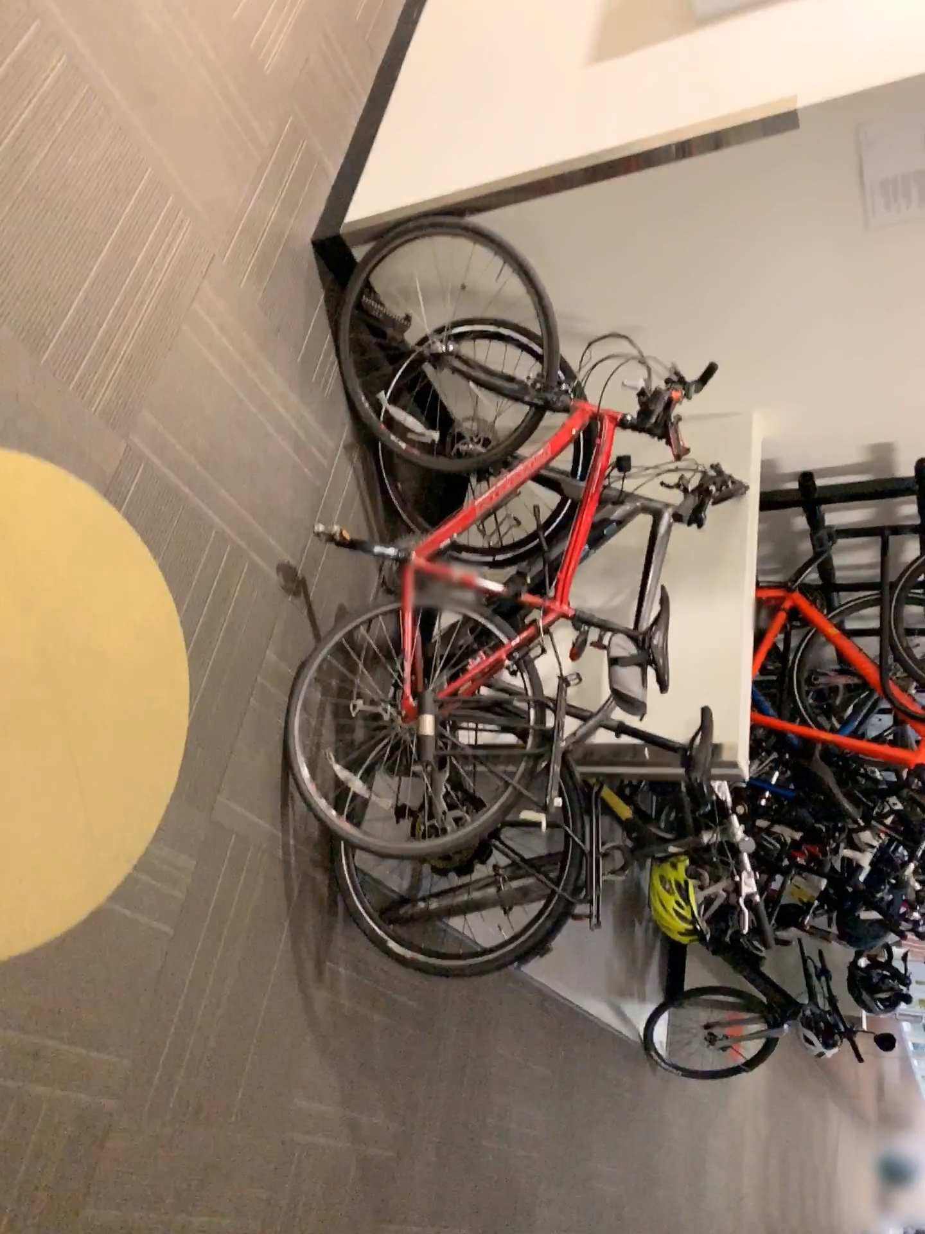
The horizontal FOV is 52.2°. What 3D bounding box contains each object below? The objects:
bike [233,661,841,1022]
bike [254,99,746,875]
[{"bbox_3d":[0.207,0.557,2.417,0.696,1.149,0.726,22,73,-62],"label":"bike"},{"bbox_3d":[0.133,-0.201,2.391,0.606,0.927,1.611,19,74,-62],"label":"bike"}]
